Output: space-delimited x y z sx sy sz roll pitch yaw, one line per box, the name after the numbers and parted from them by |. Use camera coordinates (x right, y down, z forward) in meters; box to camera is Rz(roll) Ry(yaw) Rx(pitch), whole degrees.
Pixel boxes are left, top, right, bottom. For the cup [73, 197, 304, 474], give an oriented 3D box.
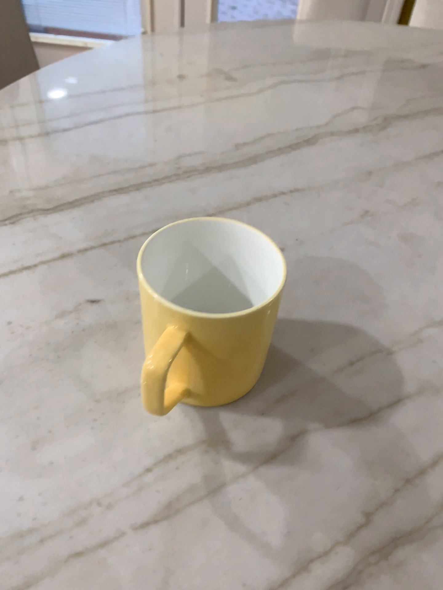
-0.011 0.016 0.247 0.074 0.074 0.110 17 46 11 | cup
